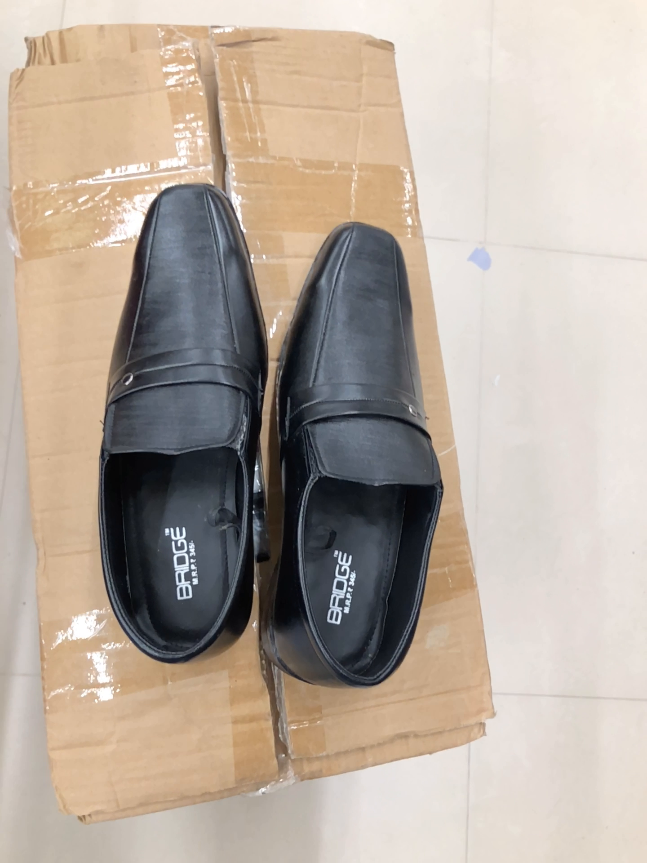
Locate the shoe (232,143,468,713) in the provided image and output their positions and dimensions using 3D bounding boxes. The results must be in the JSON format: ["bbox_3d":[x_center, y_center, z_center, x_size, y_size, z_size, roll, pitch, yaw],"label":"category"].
[{"bbox_3d":[0.013,0.001,0.462,0.100,0.130,0.310,5,81,-18],"label":"shoe"}]

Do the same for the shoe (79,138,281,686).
[{"bbox_3d":[-0.084,-0.010,0.444,0.100,0.130,0.290,-2,82,-6],"label":"shoe"}]
